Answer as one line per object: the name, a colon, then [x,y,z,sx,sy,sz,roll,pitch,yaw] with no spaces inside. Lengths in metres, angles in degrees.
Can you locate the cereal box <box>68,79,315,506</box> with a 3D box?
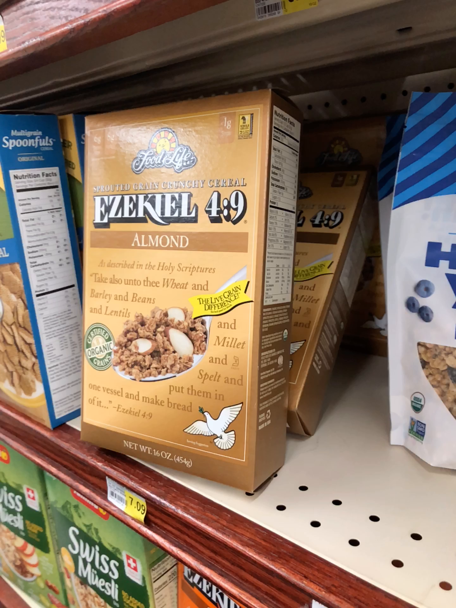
cereal box: [-0.028,-0.009,0.323,0.140,0.220,0.060,5,5,31]
